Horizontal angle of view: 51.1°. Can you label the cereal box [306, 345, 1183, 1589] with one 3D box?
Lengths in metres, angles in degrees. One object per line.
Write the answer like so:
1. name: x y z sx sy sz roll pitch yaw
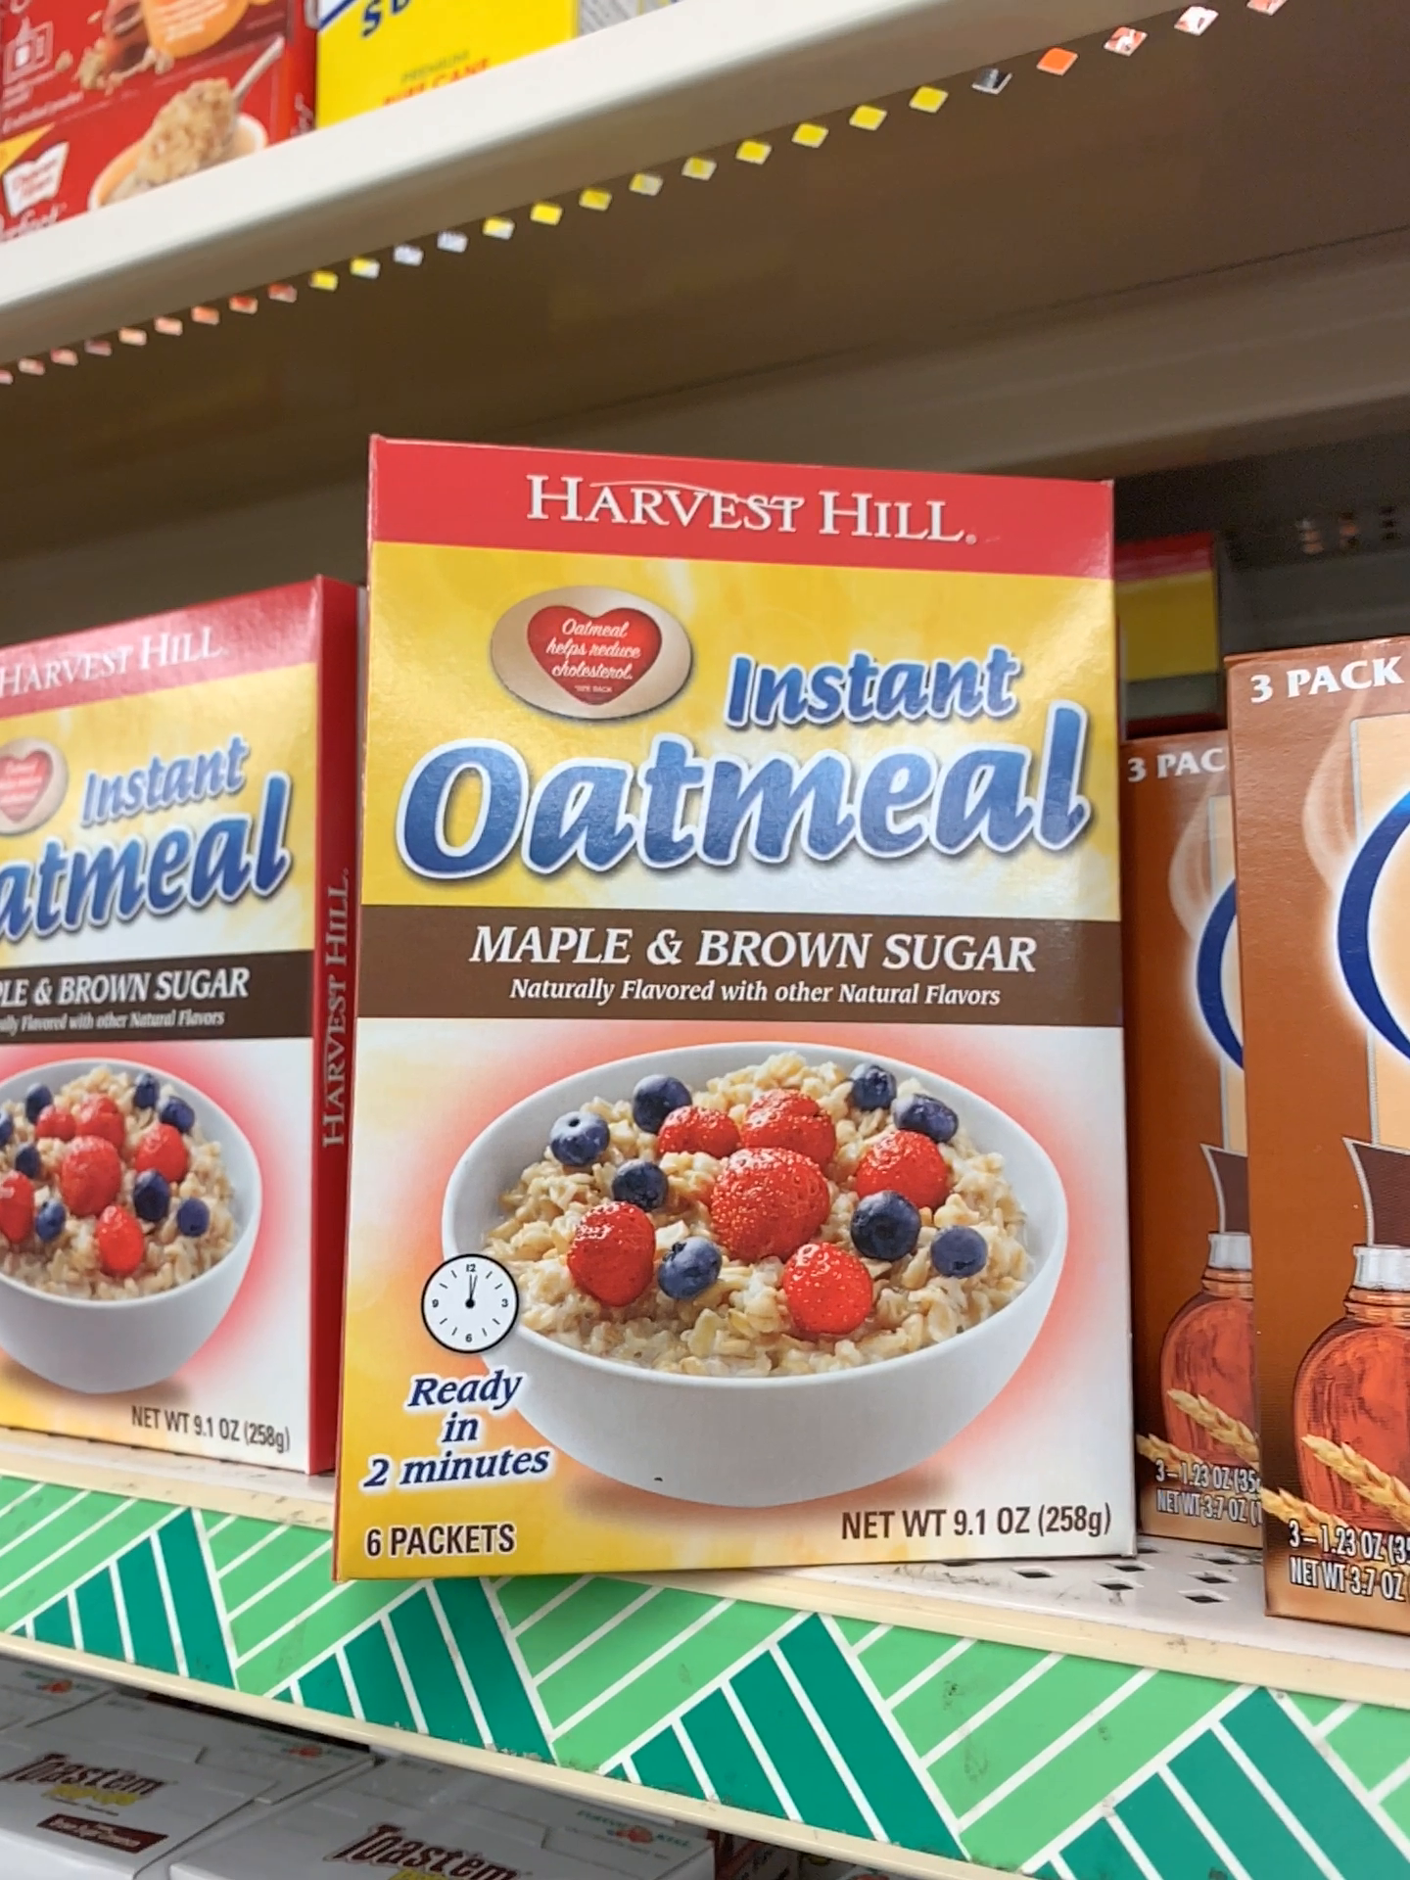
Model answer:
1. cereal box: 0.005 0.004 0.249 0.130 0.180 0.050 2 -7 -10
